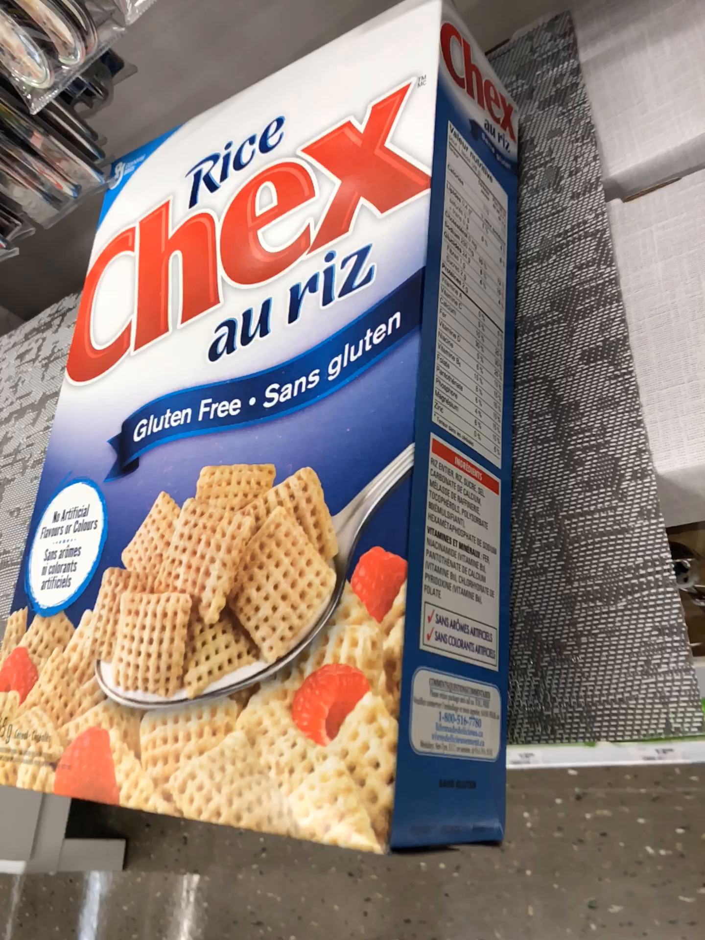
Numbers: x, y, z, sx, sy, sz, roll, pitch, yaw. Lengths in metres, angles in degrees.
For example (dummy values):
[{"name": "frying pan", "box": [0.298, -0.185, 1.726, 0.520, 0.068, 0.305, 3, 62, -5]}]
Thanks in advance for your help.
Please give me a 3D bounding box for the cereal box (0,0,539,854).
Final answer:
[{"name": "cereal box", "box": [-0.038, -0.023, 0.325, 0.211, 0.070, 0.300, -8, 65, 33]}]
